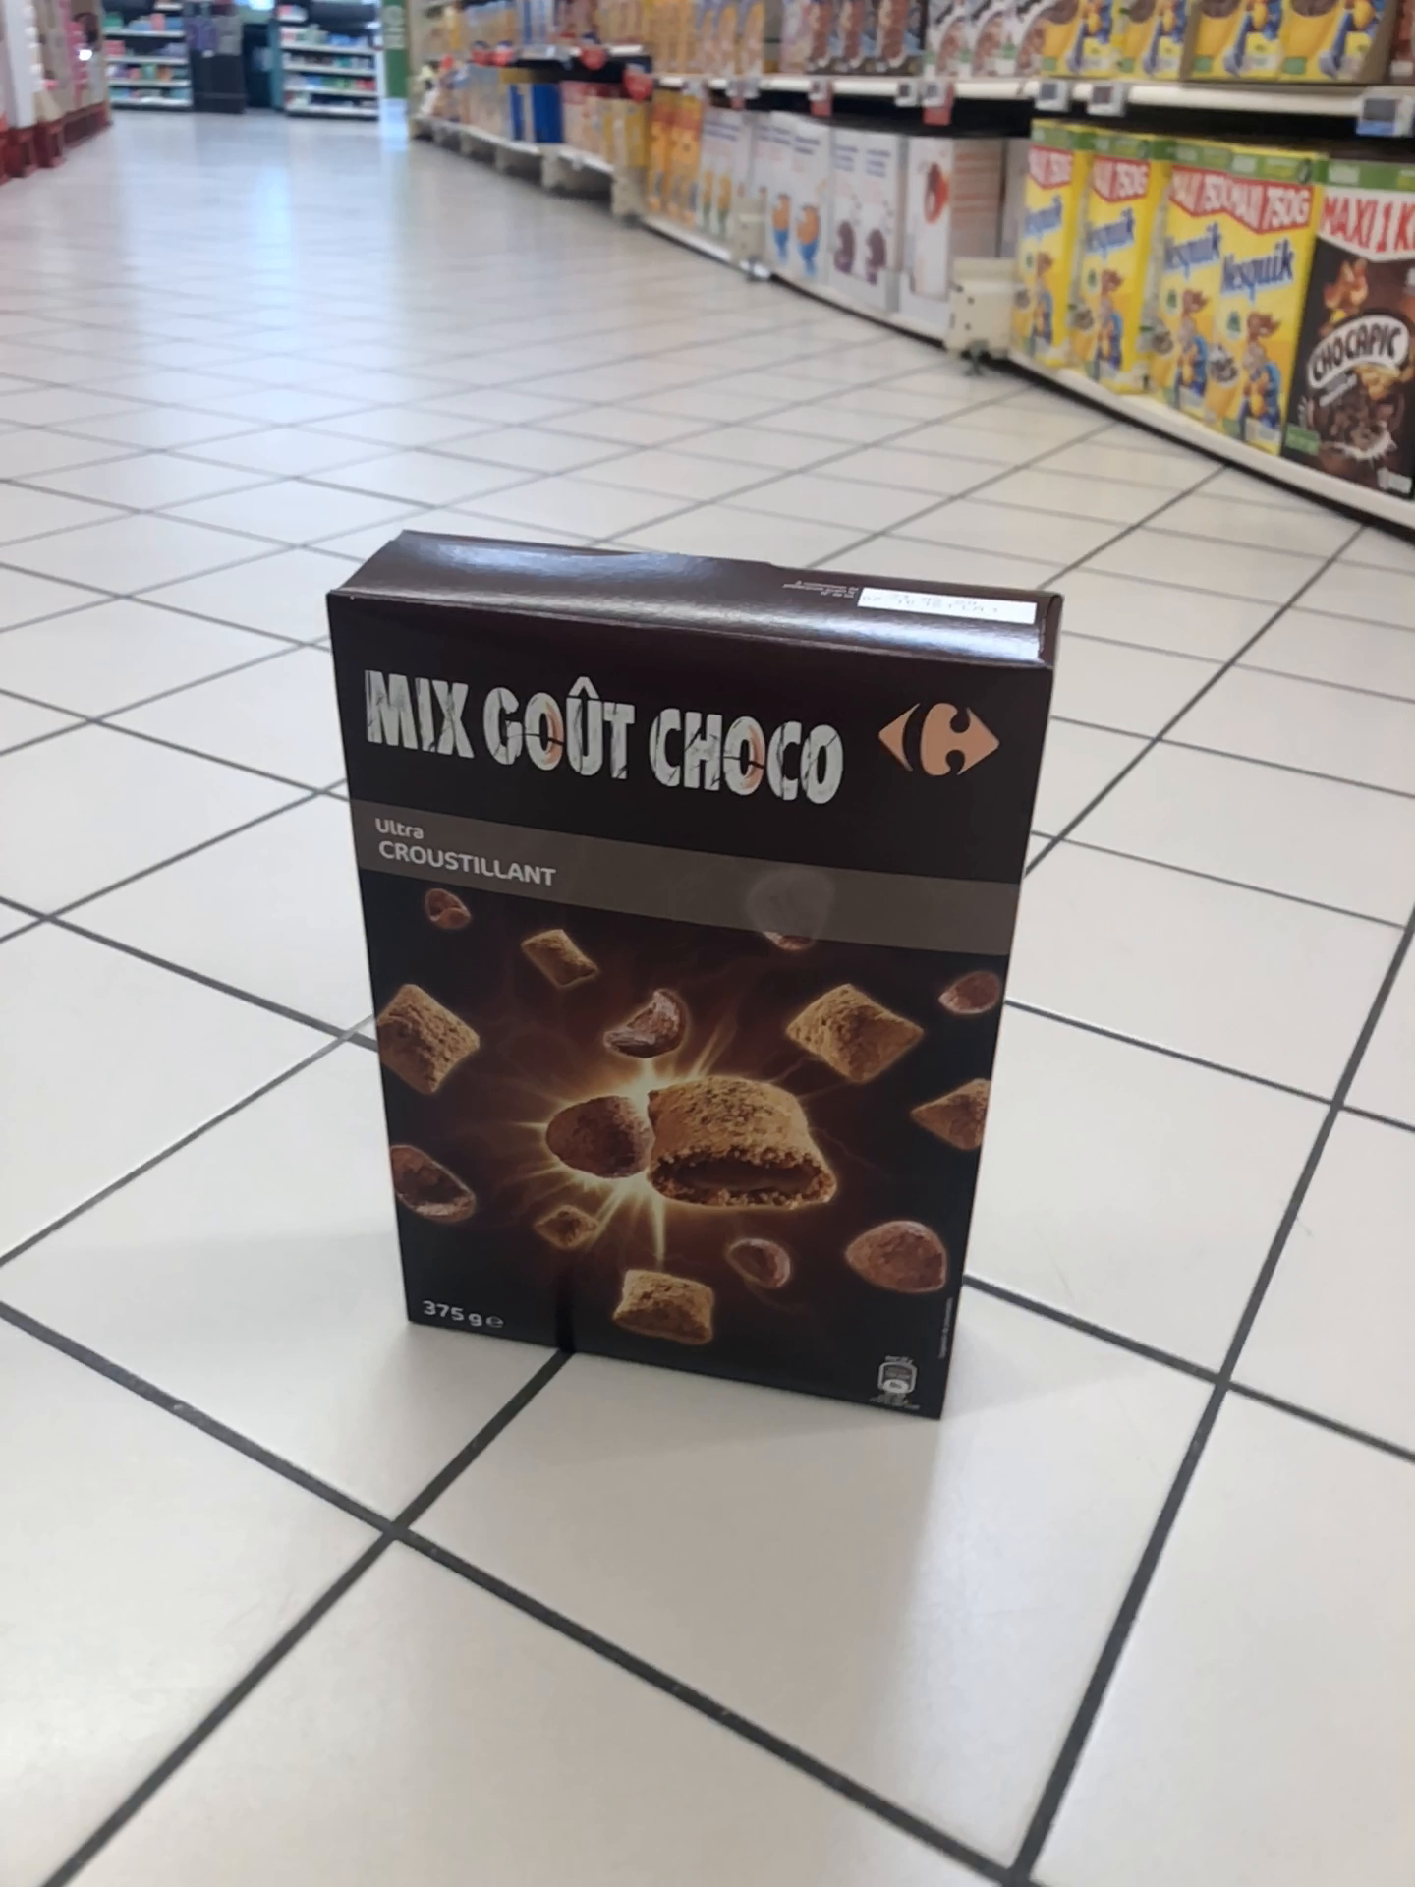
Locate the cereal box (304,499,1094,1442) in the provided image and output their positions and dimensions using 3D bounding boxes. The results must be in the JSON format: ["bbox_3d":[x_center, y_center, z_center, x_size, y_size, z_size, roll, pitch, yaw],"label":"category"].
[{"bbox_3d":[-0.002,0.015,0.489,0.200,0.268,0.081,7,32,9],"label":"cereal box"}]
